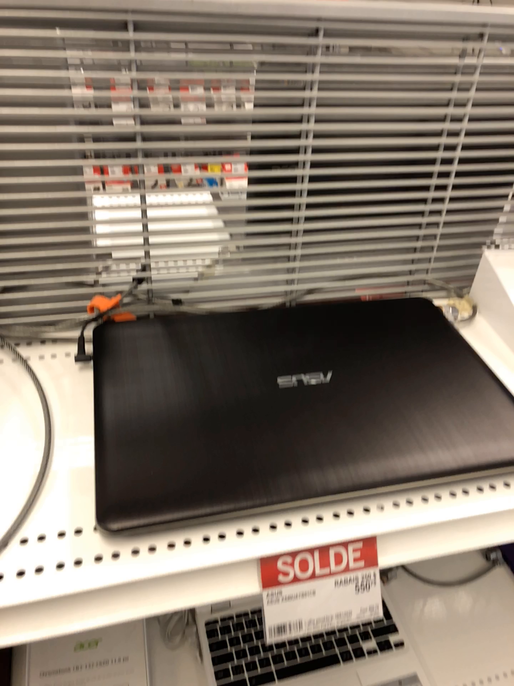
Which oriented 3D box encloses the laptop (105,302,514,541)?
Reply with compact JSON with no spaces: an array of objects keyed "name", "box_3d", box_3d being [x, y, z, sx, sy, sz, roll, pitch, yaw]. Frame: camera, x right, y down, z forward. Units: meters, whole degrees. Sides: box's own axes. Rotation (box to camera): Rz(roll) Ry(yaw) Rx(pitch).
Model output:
[{"name":"laptop","box_3d":[0.048,0.046,0.535,0.367,0.013,0.235,-5,39,-15]}]
